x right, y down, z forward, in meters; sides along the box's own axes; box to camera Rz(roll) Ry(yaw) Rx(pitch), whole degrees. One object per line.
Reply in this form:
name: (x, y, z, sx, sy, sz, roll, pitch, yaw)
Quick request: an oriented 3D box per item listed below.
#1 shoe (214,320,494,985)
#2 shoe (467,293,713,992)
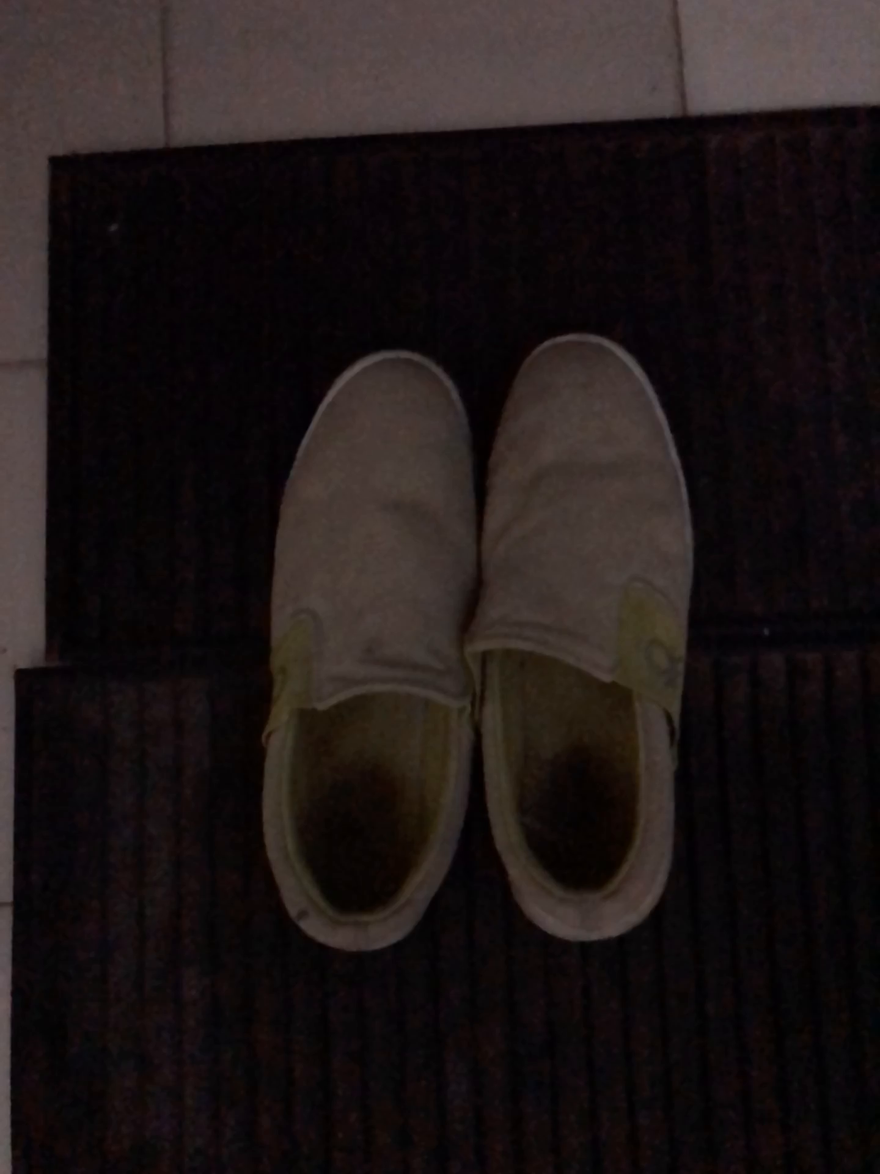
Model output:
shoe: (-0.034, 0.028, 0.487, 0.120, 0.090, 0.300, 0, 82, 3)
shoe: (0.071, 0.024, 0.506, 0.110, 0.090, 0.330, 0, 82, 3)
